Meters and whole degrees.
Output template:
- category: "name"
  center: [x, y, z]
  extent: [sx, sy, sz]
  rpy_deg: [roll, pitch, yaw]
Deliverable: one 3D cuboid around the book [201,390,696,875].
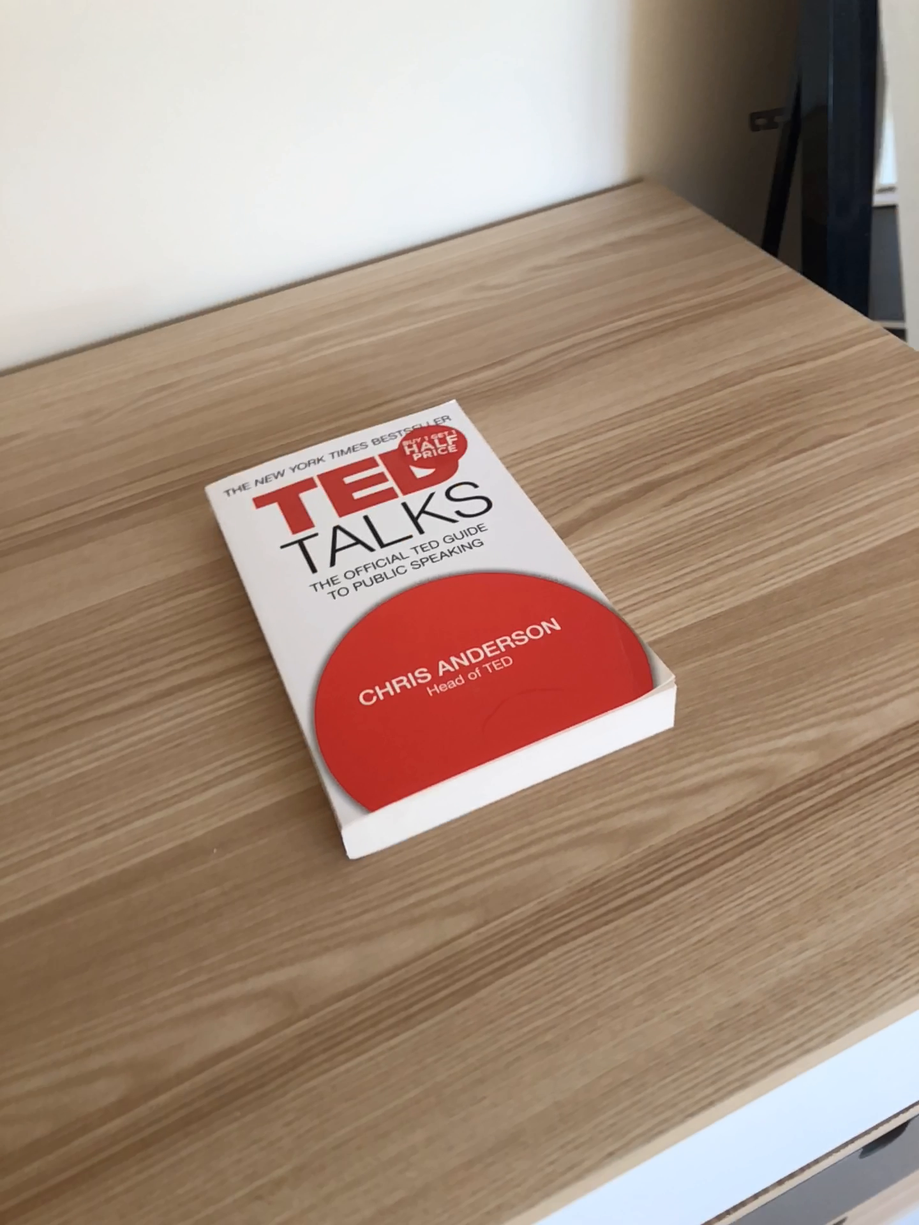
- category: "book"
  center: [-0.017, -0.010, 0.442]
  extent: [0.138, 0.030, 0.221]
  rpy_deg: [-20, 47, -12]
